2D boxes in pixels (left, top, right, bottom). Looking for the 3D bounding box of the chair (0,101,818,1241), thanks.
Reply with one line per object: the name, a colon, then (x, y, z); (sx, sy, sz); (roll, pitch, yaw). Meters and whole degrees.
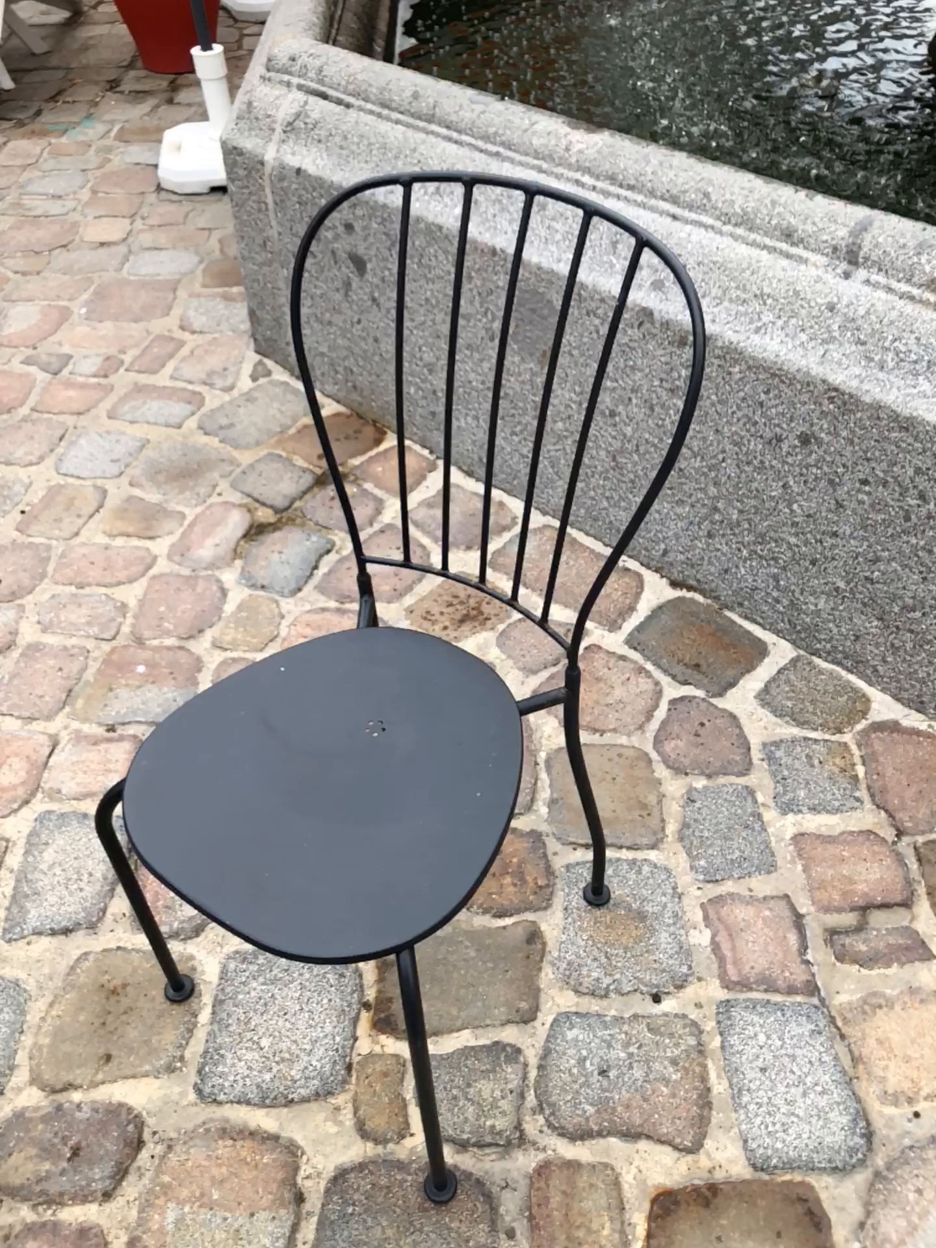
chair: (-0.069, 0.069, 0.903); (0.420, 0.796, 0.472); (25, 50, 24)
